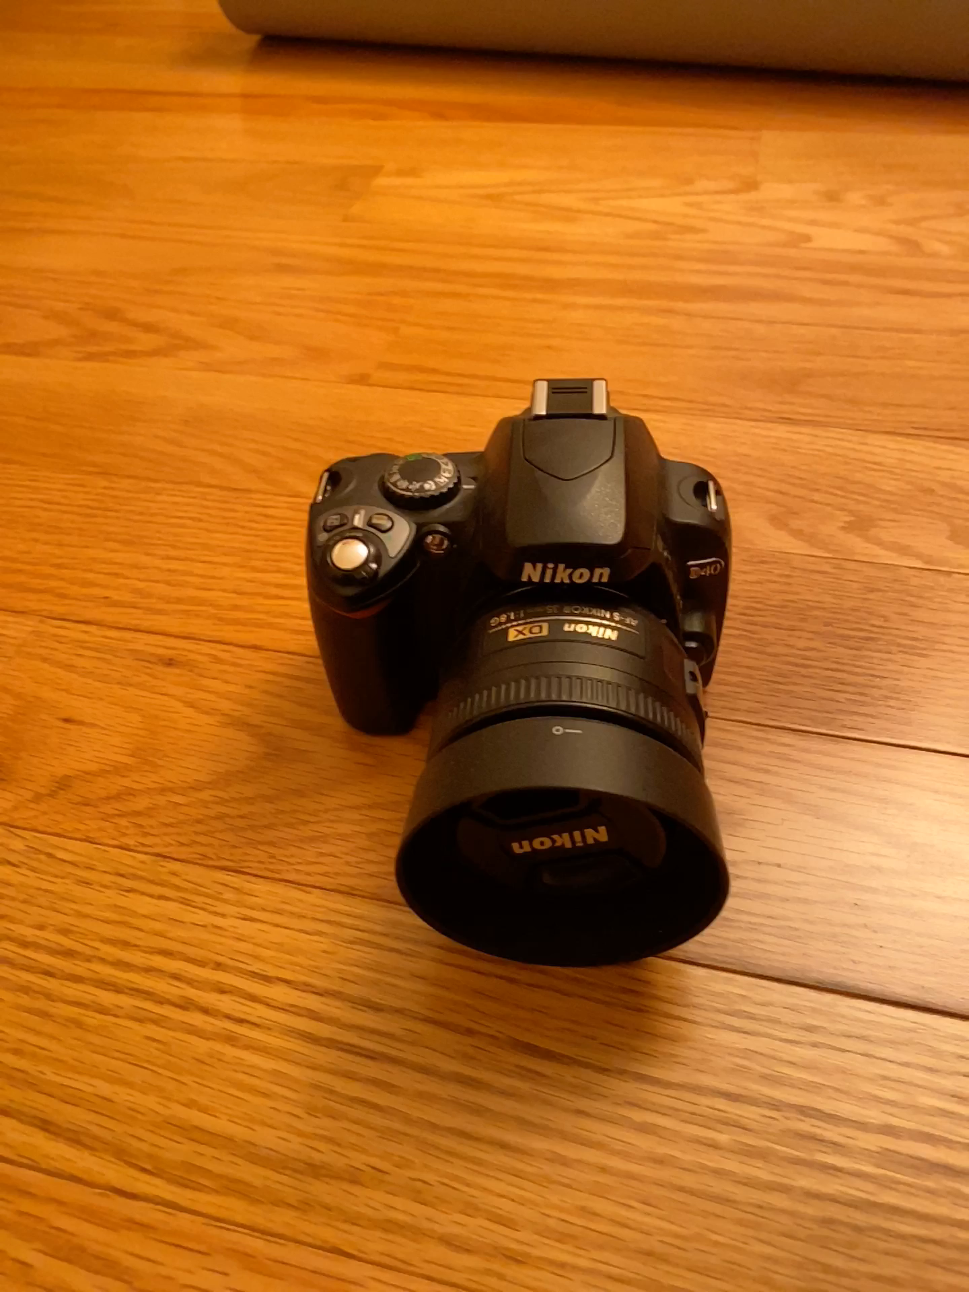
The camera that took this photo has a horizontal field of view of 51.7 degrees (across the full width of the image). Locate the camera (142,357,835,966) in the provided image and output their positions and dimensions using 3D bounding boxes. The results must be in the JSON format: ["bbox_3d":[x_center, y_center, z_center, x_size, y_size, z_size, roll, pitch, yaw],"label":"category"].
[{"bbox_3d":[0.007,-0.004,0.264,0.130,0.079,0.141,1,46,6],"label":"camera"}]
